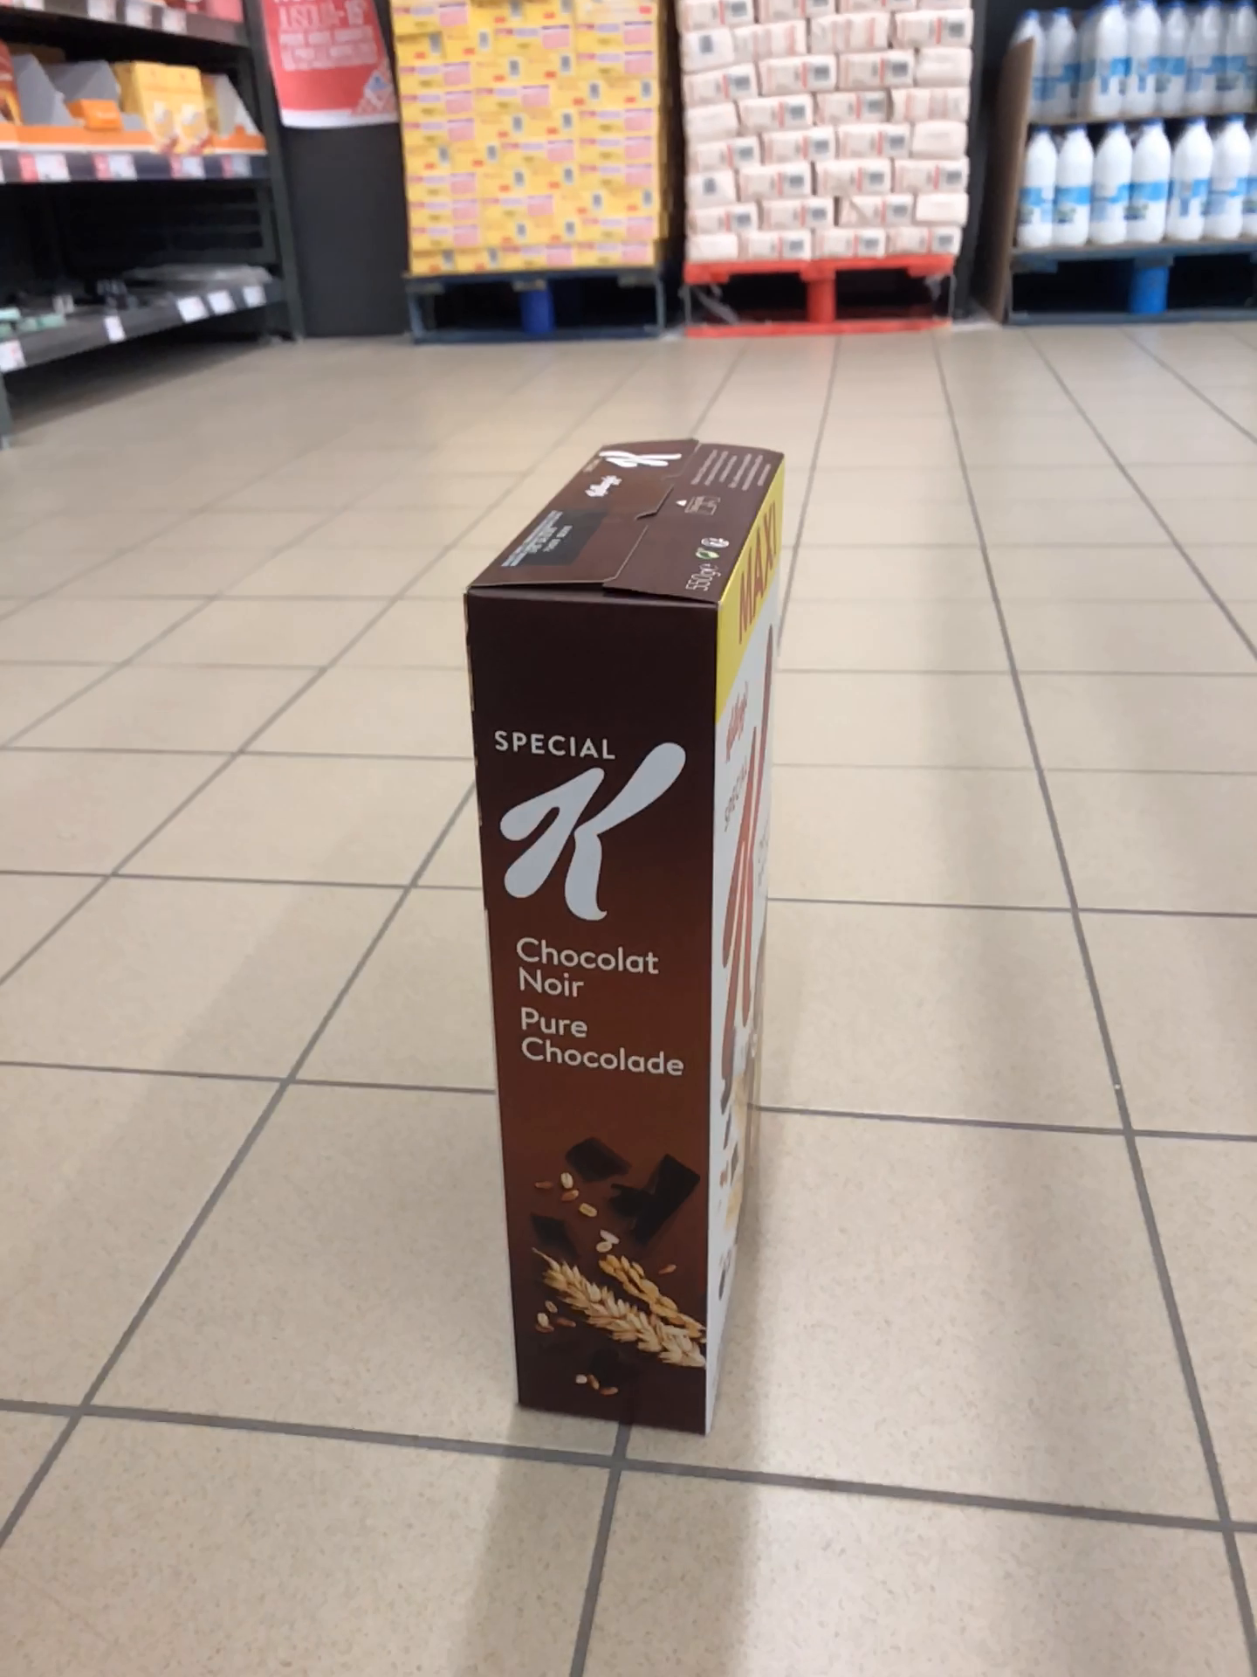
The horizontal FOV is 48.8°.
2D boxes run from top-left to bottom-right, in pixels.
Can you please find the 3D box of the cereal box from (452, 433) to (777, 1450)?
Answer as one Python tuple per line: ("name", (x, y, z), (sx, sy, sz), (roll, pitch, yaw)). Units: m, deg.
("cereal box", (0.006, 0.025, 0.505), (0.070, 0.298, 0.211), (4, 26, 8))
